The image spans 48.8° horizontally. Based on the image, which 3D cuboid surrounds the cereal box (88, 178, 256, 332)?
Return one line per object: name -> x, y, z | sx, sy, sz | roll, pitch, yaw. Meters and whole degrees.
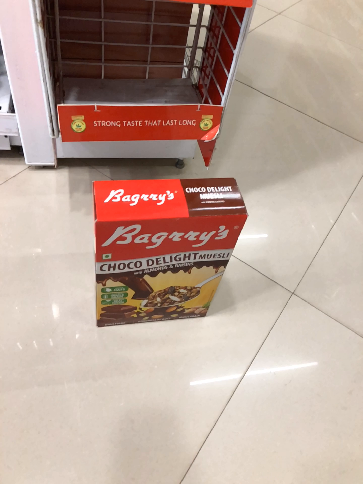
cereal box -> -0.031, 0.029, 0.569 | 0.190, 0.259, 0.070 | -2, 52, -13
